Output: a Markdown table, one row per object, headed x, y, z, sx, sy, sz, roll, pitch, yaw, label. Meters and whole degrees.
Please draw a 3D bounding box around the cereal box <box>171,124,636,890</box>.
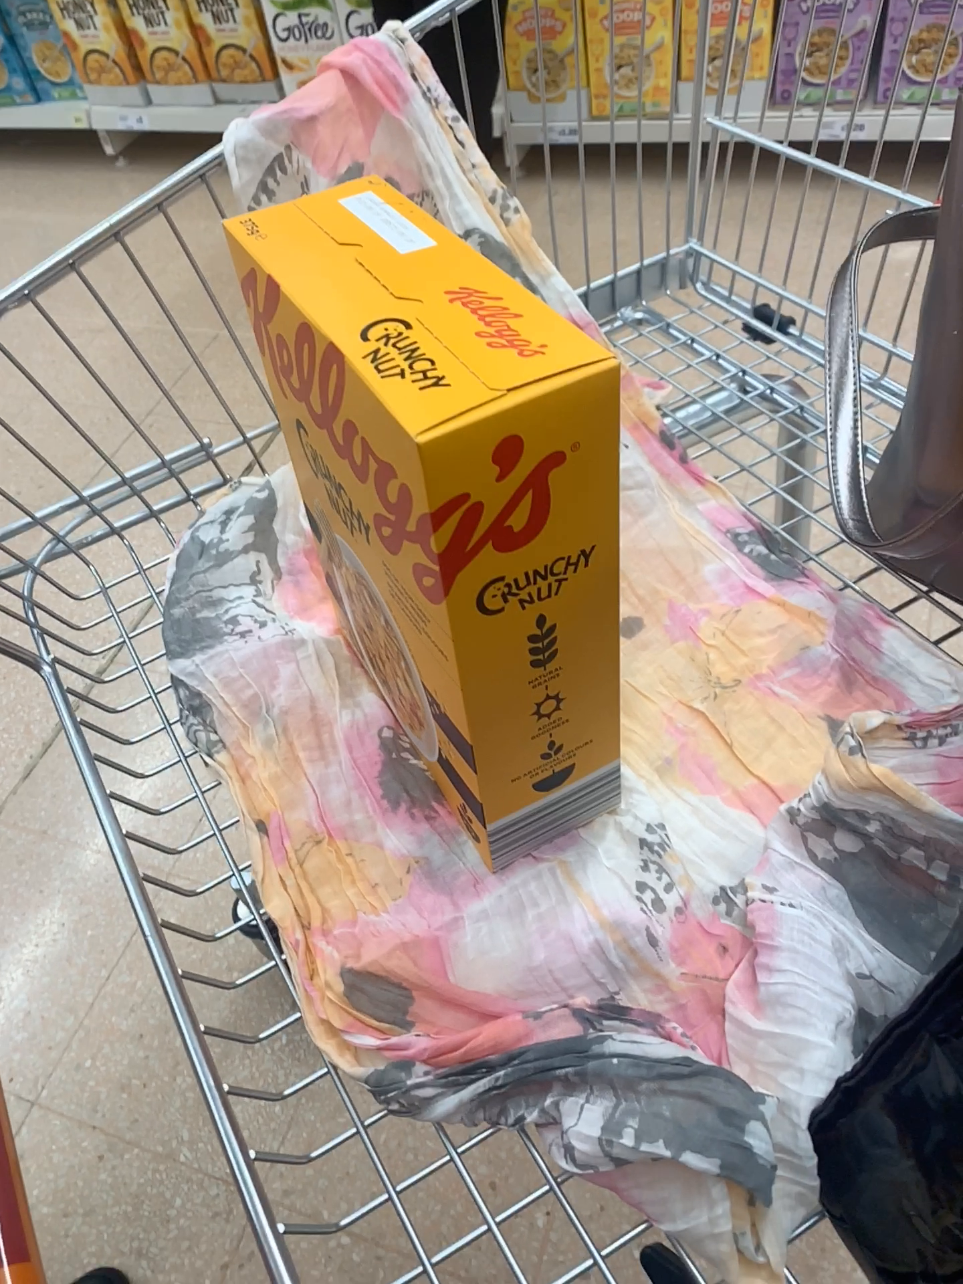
| x | y | z | sx | sy | sz | roll | pitch | yaw | label |
| --- | --- | --- | --- | --- | --- | --- | --- | --- | --- |
| -0.026 | -0.054 | 0.438 | 0.080 | 0.258 | 0.212 | -26 | 48 | -15 | cereal box |
